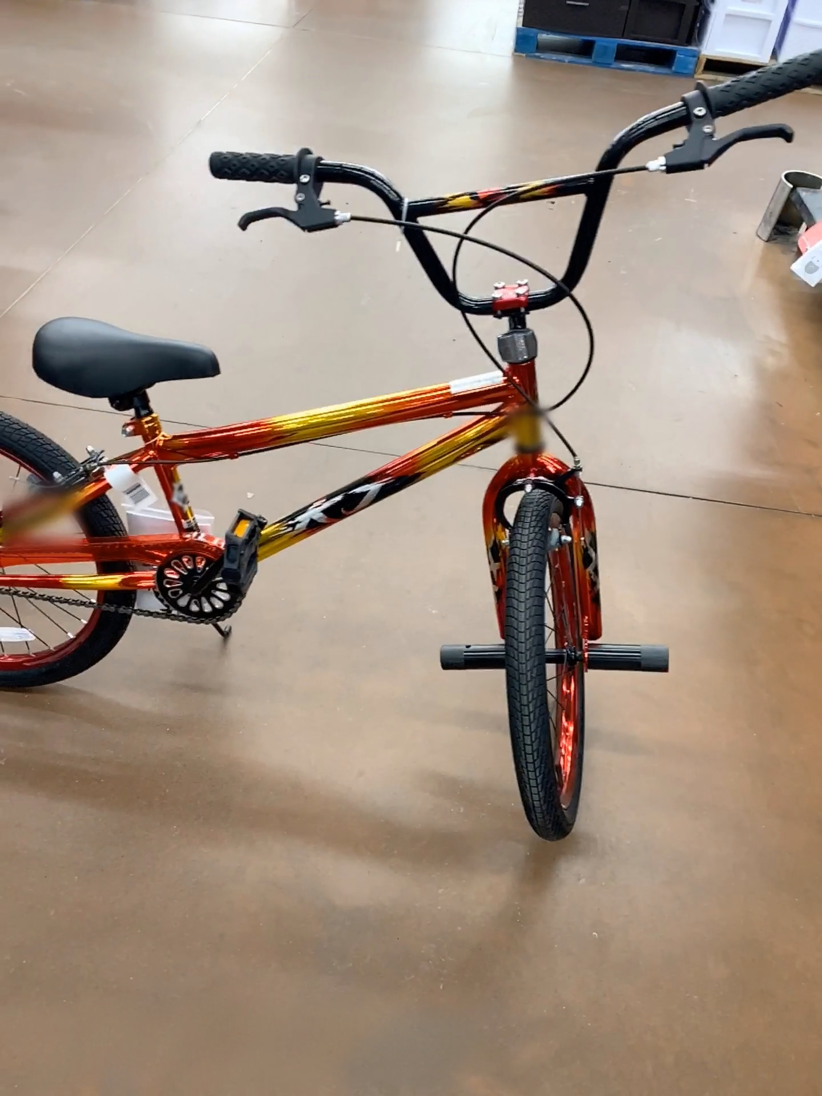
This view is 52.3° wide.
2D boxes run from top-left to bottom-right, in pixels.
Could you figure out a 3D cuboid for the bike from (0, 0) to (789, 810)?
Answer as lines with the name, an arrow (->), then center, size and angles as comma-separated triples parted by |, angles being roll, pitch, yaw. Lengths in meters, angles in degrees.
bike -> -0.281, -0.248, 1.143 | 1.122, 0.925, 0.707 | 1, 43, -5
